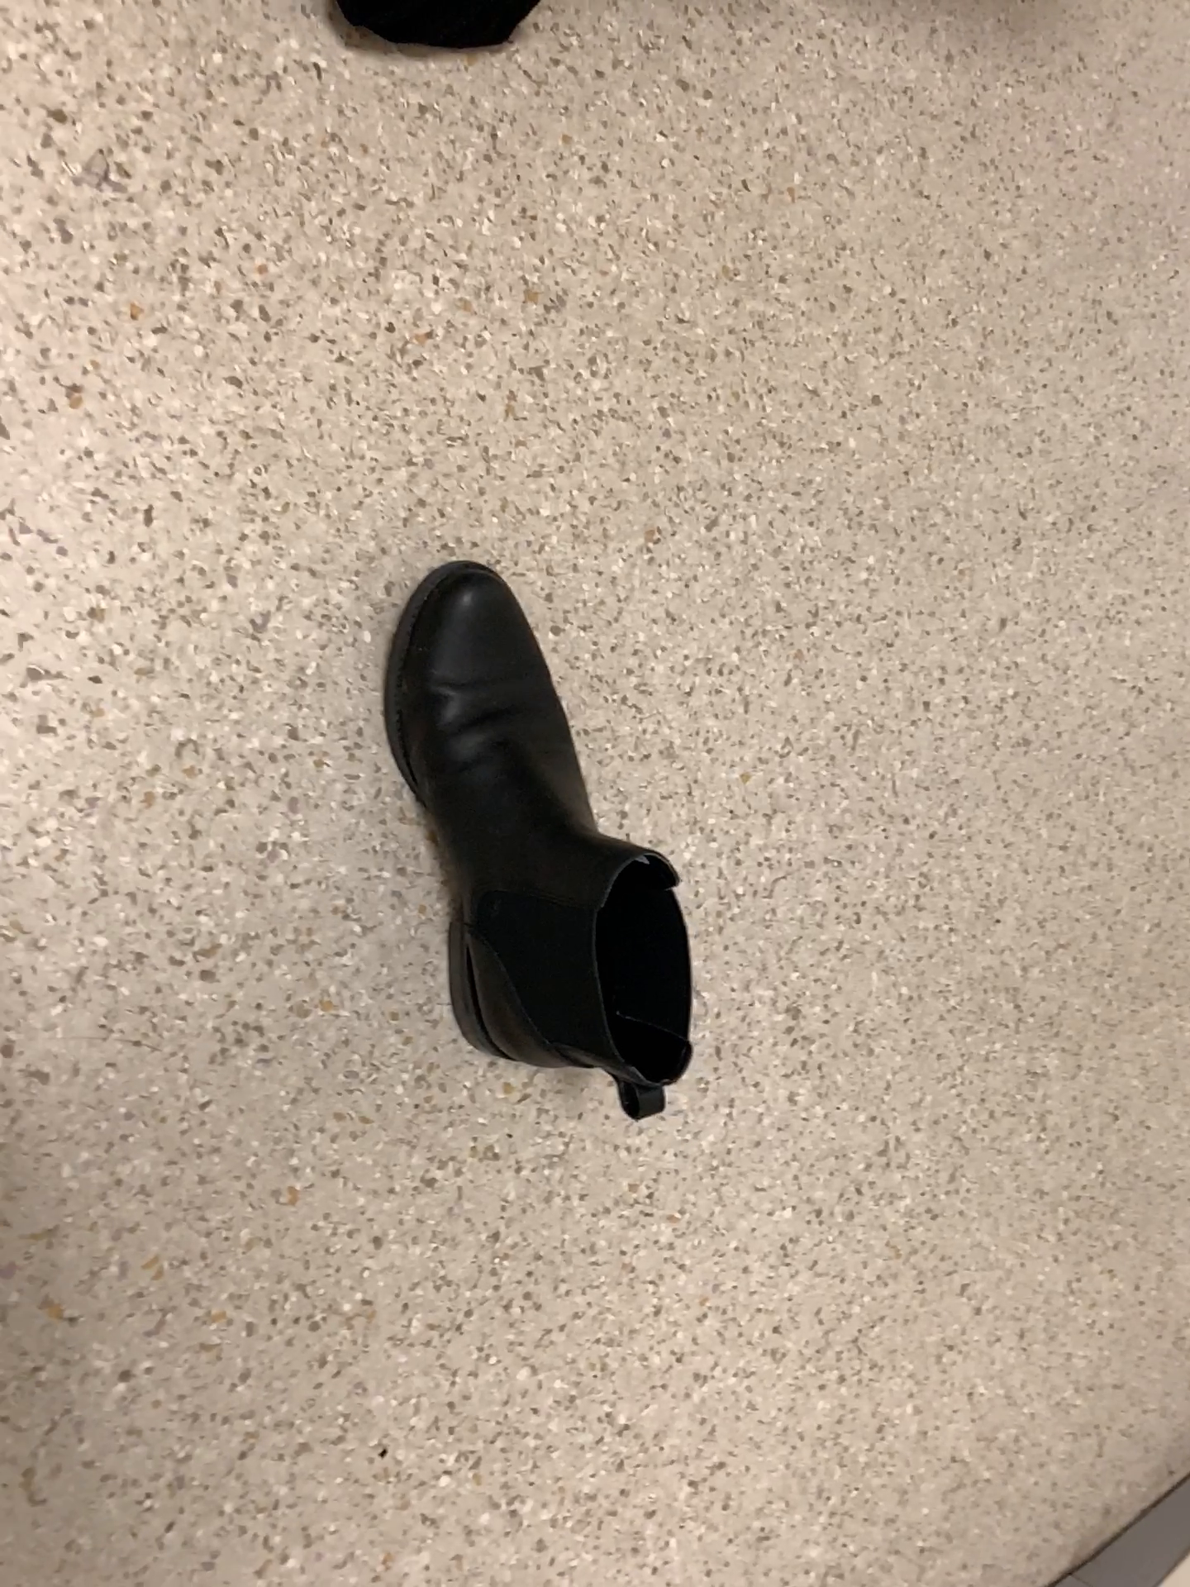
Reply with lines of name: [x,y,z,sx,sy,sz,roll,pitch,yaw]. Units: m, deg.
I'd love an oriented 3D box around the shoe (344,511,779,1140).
shoe: [-0.020,0.012,0.615,0.108,0.147,0.270,-15,97,-33]
